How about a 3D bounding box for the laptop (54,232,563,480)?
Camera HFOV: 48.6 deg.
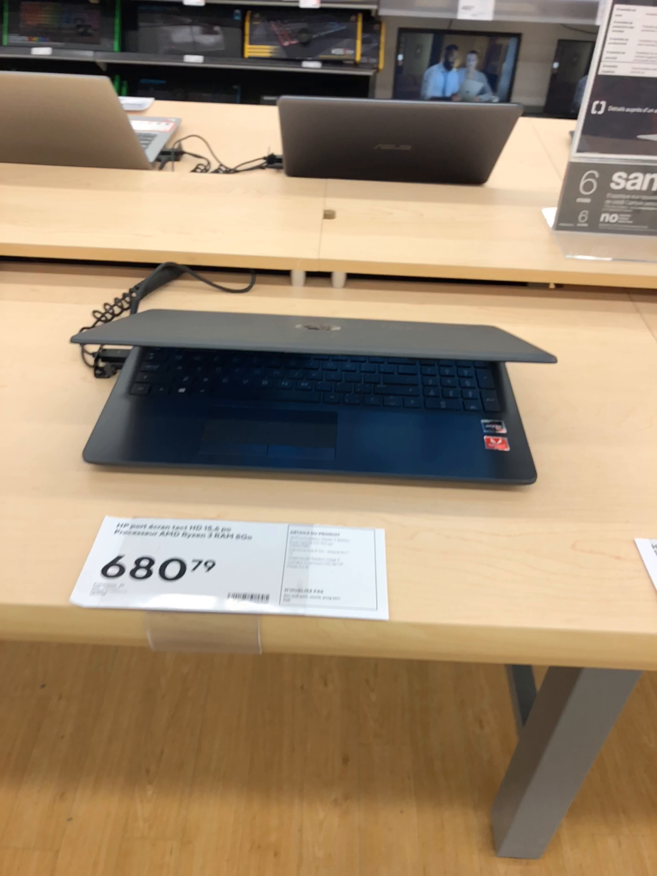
[{"bbox_3d":[-0.009,-0.083,0.646,0.366,0.090,0.244,3,38,-1],"label":"laptop"}]
